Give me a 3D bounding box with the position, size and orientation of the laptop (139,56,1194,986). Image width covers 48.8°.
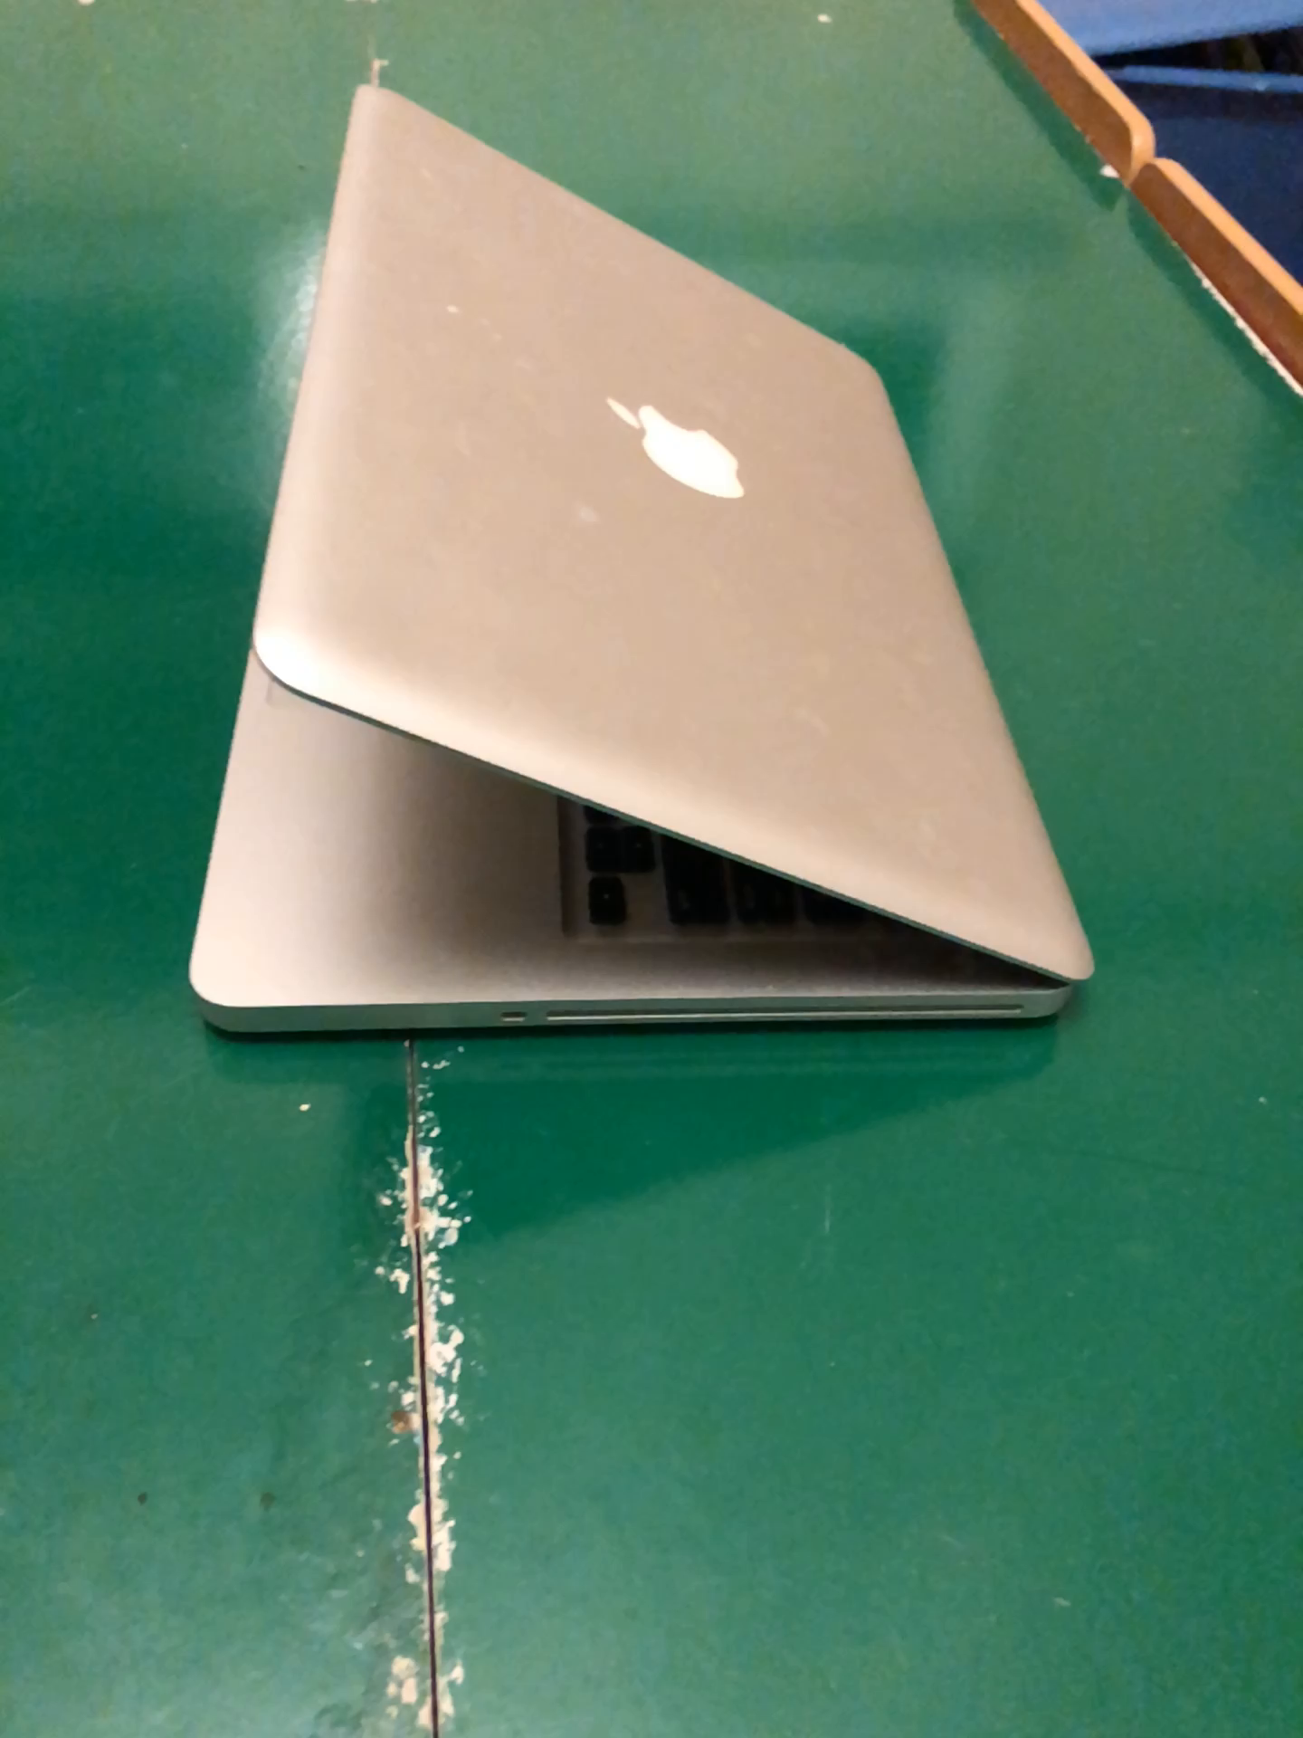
[{"bbox_3d":[-0.005,-0.121,0.424,0.209,0.098,0.316,1,47,-7],"label":"laptop"}]
